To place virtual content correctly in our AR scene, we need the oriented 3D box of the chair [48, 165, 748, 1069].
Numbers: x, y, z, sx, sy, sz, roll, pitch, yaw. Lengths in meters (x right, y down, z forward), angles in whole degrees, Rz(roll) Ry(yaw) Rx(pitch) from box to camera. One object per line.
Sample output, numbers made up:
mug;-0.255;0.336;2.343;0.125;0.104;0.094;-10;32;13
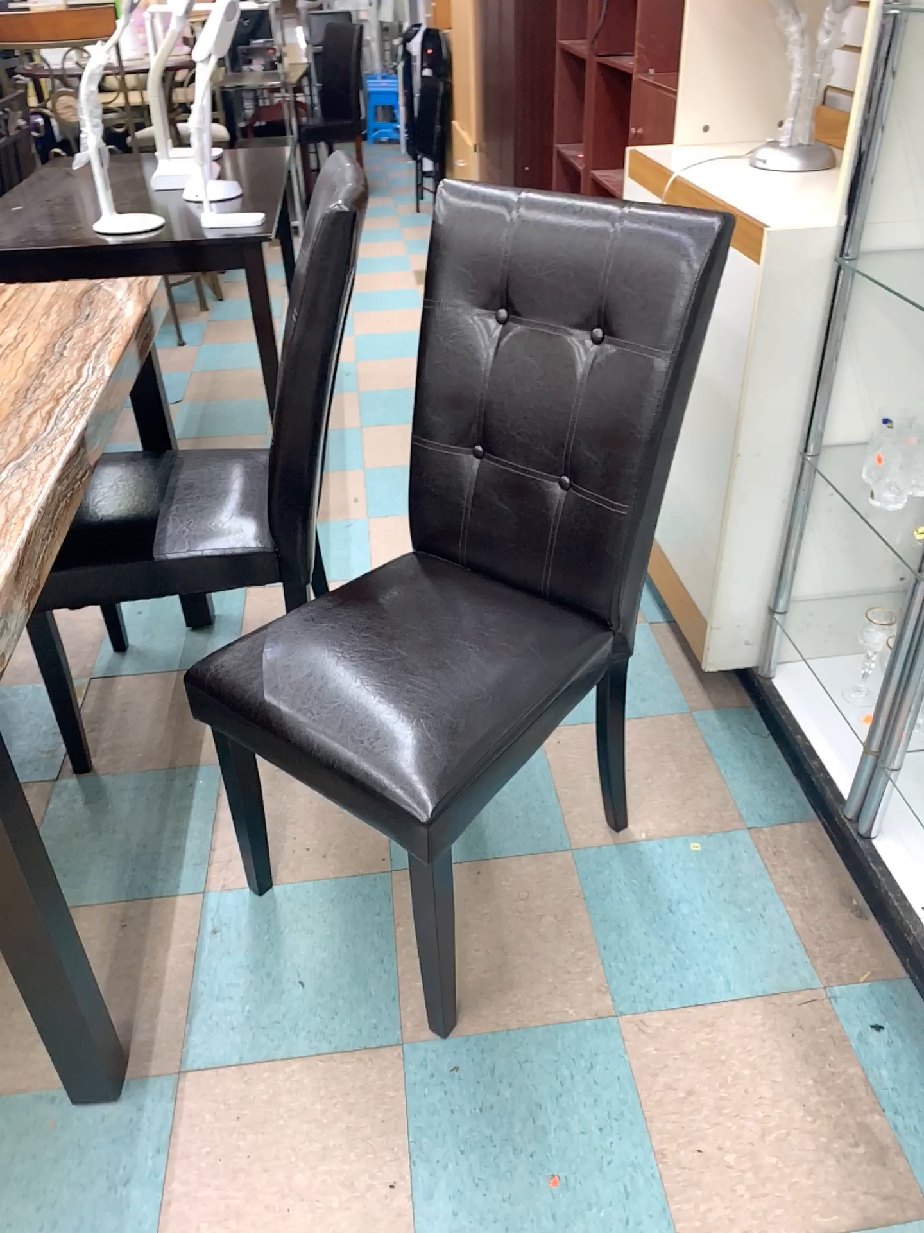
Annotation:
chair;-0.029;-0.021;1.246;0.470;0.939;0.574;24;42;34
